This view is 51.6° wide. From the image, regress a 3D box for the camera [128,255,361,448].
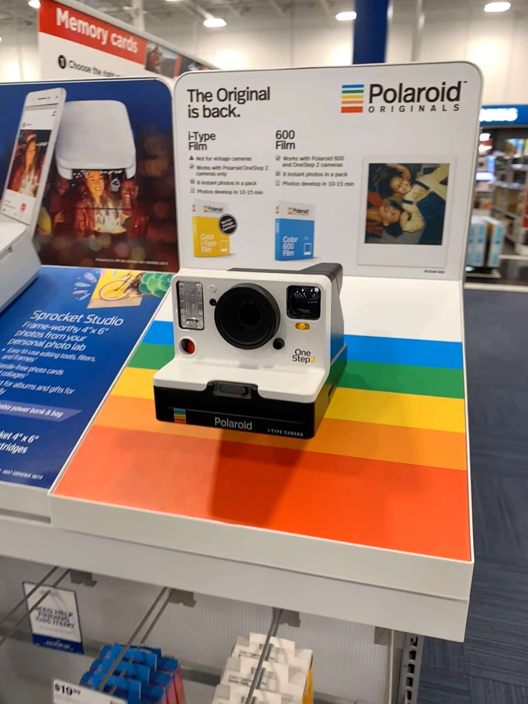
[{"bbox_3d":[-0.003,-0.013,0.406,0.130,0.090,0.151,5,19,14],"label":"camera"}]
